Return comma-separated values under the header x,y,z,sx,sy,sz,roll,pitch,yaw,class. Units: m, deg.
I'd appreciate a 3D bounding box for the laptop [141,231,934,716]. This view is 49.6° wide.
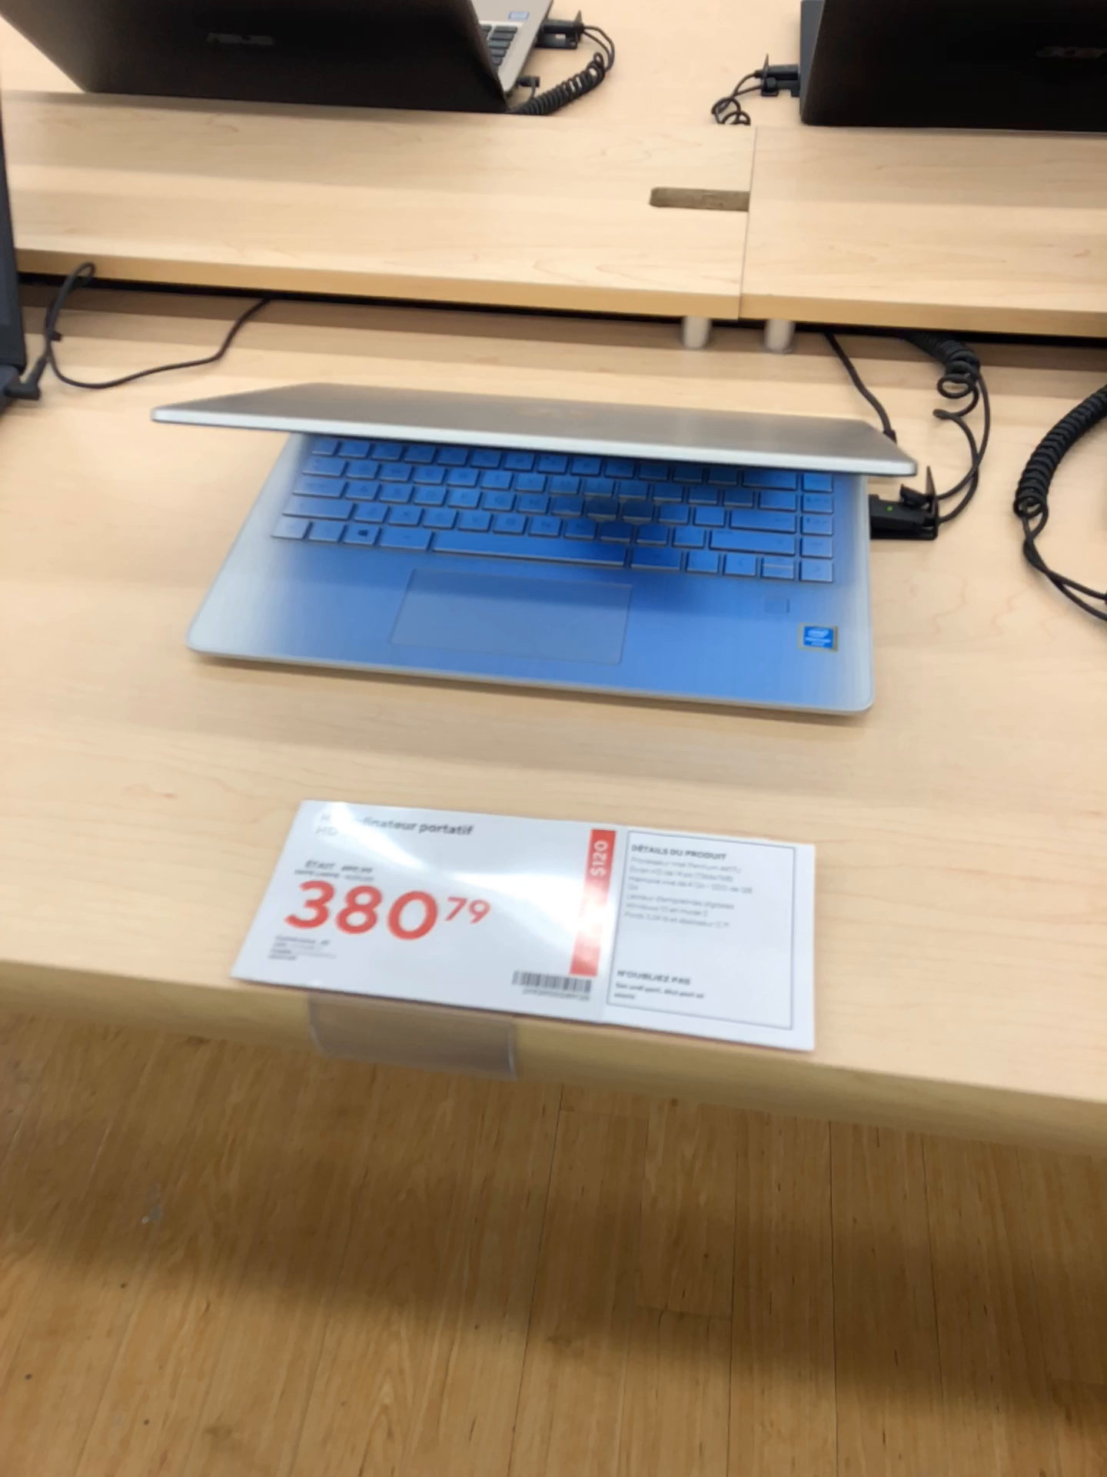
x,y,z,sx,sy,sz,roll,pitch,yaw,class
-0.005,-0.143,0.574,0.318,0.104,0.217,6,46,13,laptop
